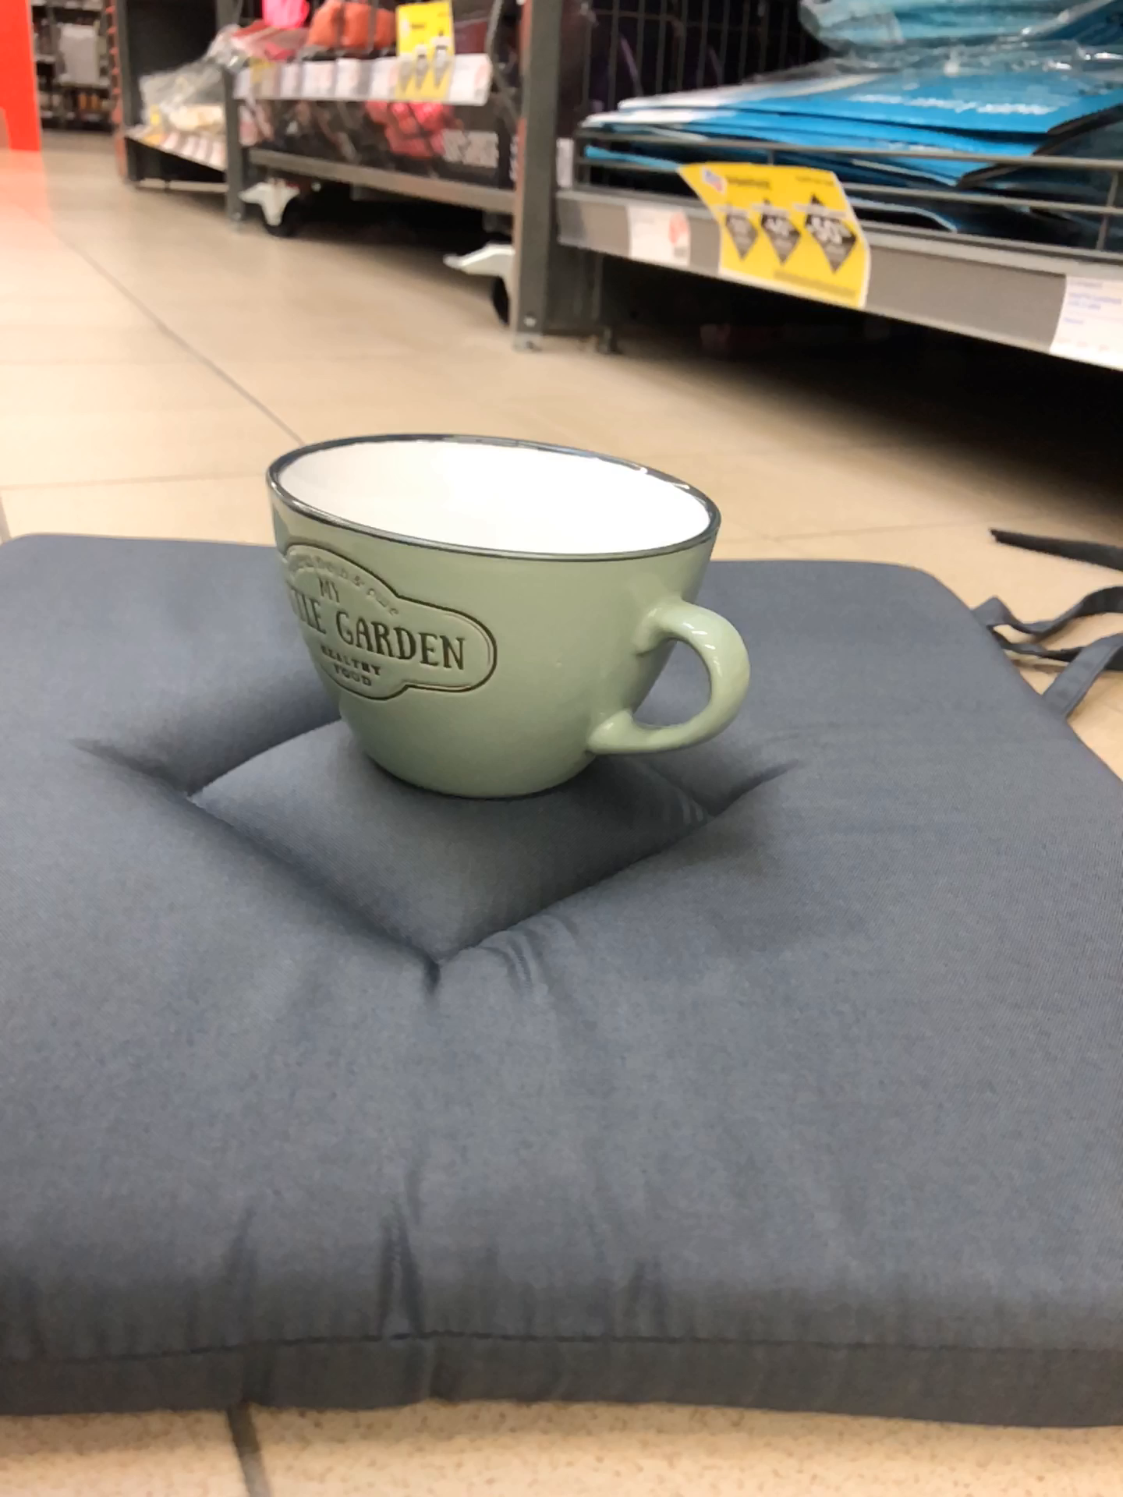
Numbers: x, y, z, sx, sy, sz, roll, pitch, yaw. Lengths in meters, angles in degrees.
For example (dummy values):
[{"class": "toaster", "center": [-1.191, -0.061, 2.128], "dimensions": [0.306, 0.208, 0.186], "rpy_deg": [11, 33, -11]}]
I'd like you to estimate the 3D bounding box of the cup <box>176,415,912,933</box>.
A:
[{"class": "cup", "center": [-0.006, -0.034, 0.326], "dimensions": [0.140, 0.070, 0.121], "rpy_deg": [24, 32, 35]}]
